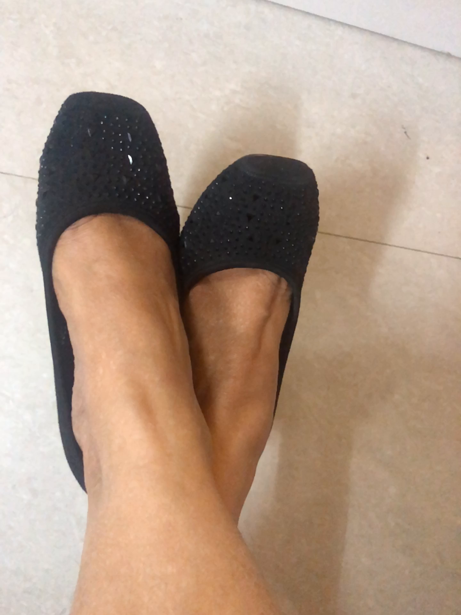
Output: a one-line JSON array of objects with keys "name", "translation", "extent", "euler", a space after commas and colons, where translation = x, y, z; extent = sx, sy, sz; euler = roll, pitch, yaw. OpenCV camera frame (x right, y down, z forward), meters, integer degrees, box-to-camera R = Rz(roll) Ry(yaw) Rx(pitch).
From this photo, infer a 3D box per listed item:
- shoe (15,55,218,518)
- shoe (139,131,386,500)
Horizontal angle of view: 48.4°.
[{"name": "shoe", "translation": [-0.075, -0.006, 0.332], "extent": [0.100, 0.070, 0.270], "euler": [-4, 112, -21]}, {"name": "shoe", "translation": [0.005, 0.018, 0.352], "extent": [0.100, 0.070, 0.240], "euler": [8, 117, -13]}]
